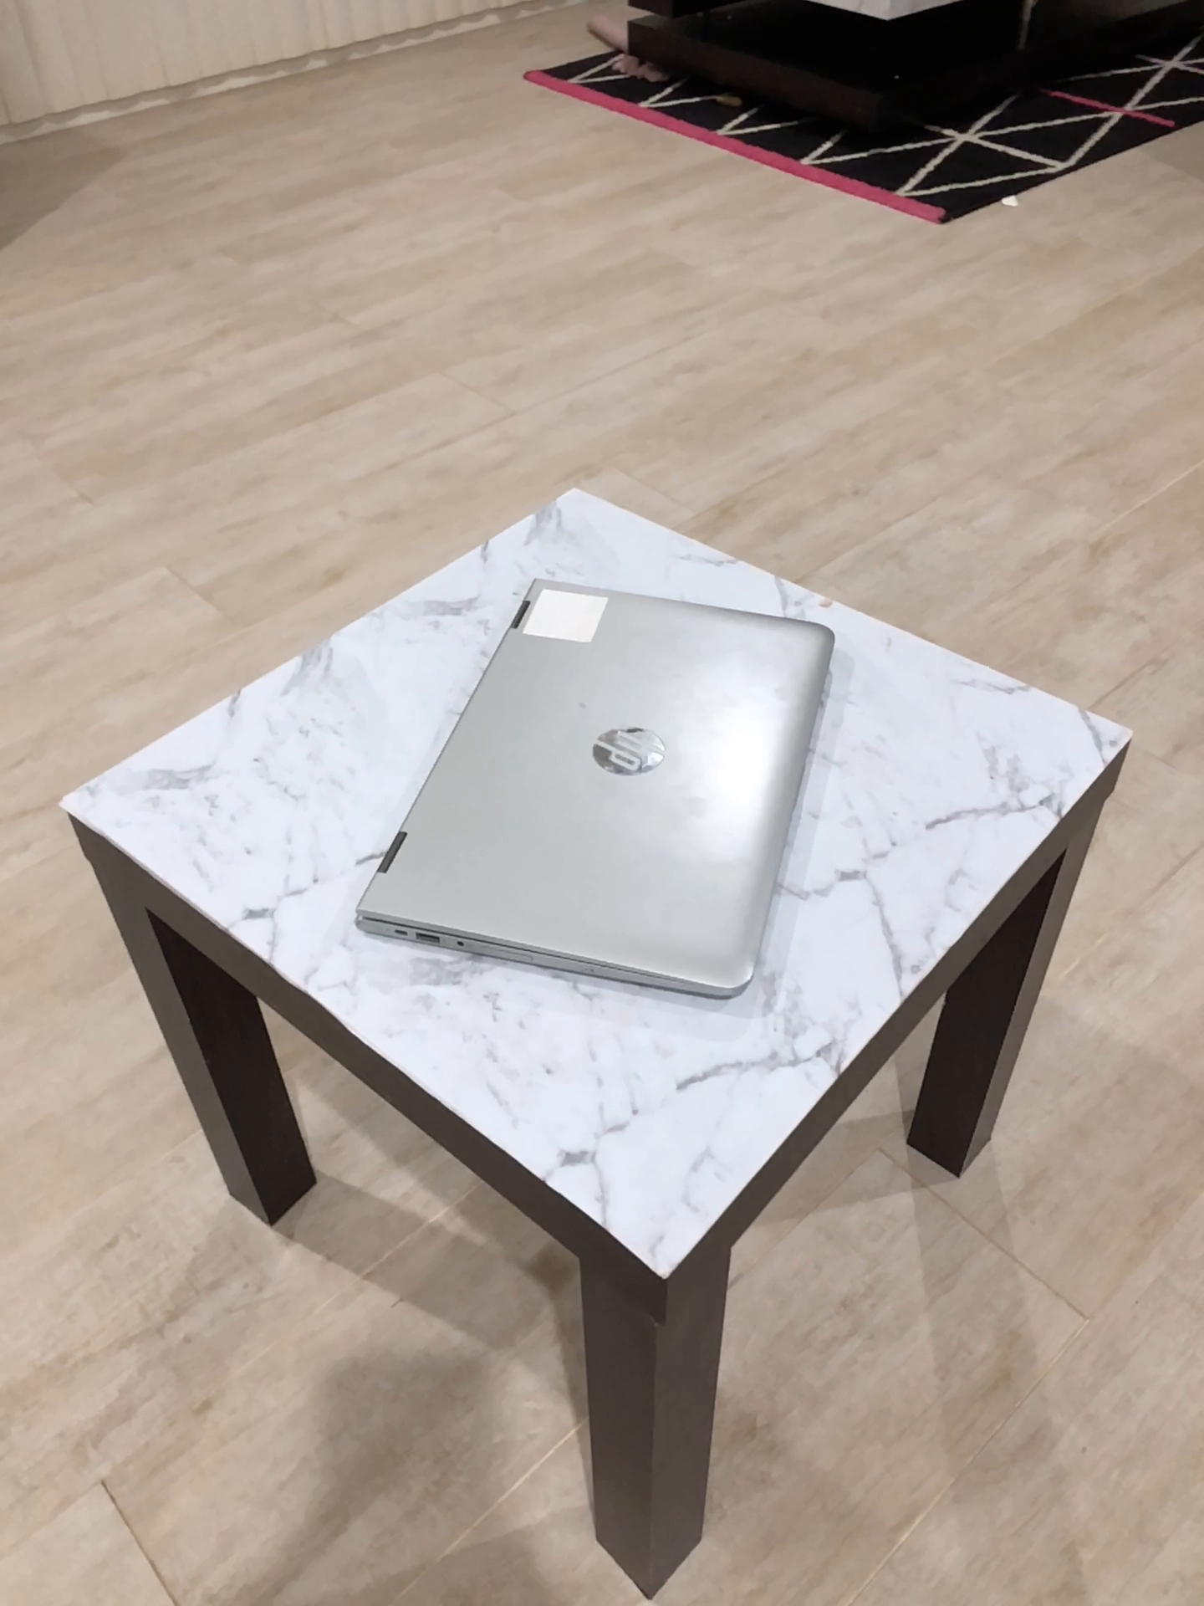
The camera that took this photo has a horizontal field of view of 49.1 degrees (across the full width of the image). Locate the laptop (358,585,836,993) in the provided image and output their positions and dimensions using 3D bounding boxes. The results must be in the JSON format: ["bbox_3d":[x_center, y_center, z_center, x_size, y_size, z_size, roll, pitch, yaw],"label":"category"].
[{"bbox_3d":[0.012,-0.027,0.744,0.197,0.001,0.294,10,45,12],"label":"laptop"}]
